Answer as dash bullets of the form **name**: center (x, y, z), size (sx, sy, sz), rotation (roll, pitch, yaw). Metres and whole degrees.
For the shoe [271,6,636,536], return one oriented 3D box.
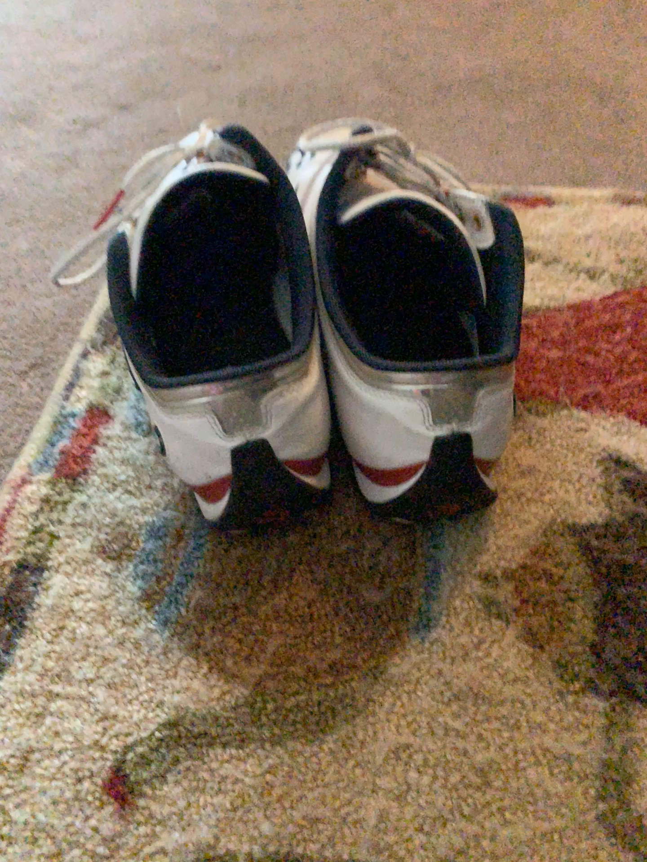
- **shoe**: center (0.035, -0.104, 0.347), size (0.100, 0.106, 0.292), rotation (-5, 51, -4)

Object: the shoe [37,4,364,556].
- **shoe**: center (-0.063, -0.099, 0.338), size (0.100, 0.106, 0.292), rotation (-8, 51, -7)
